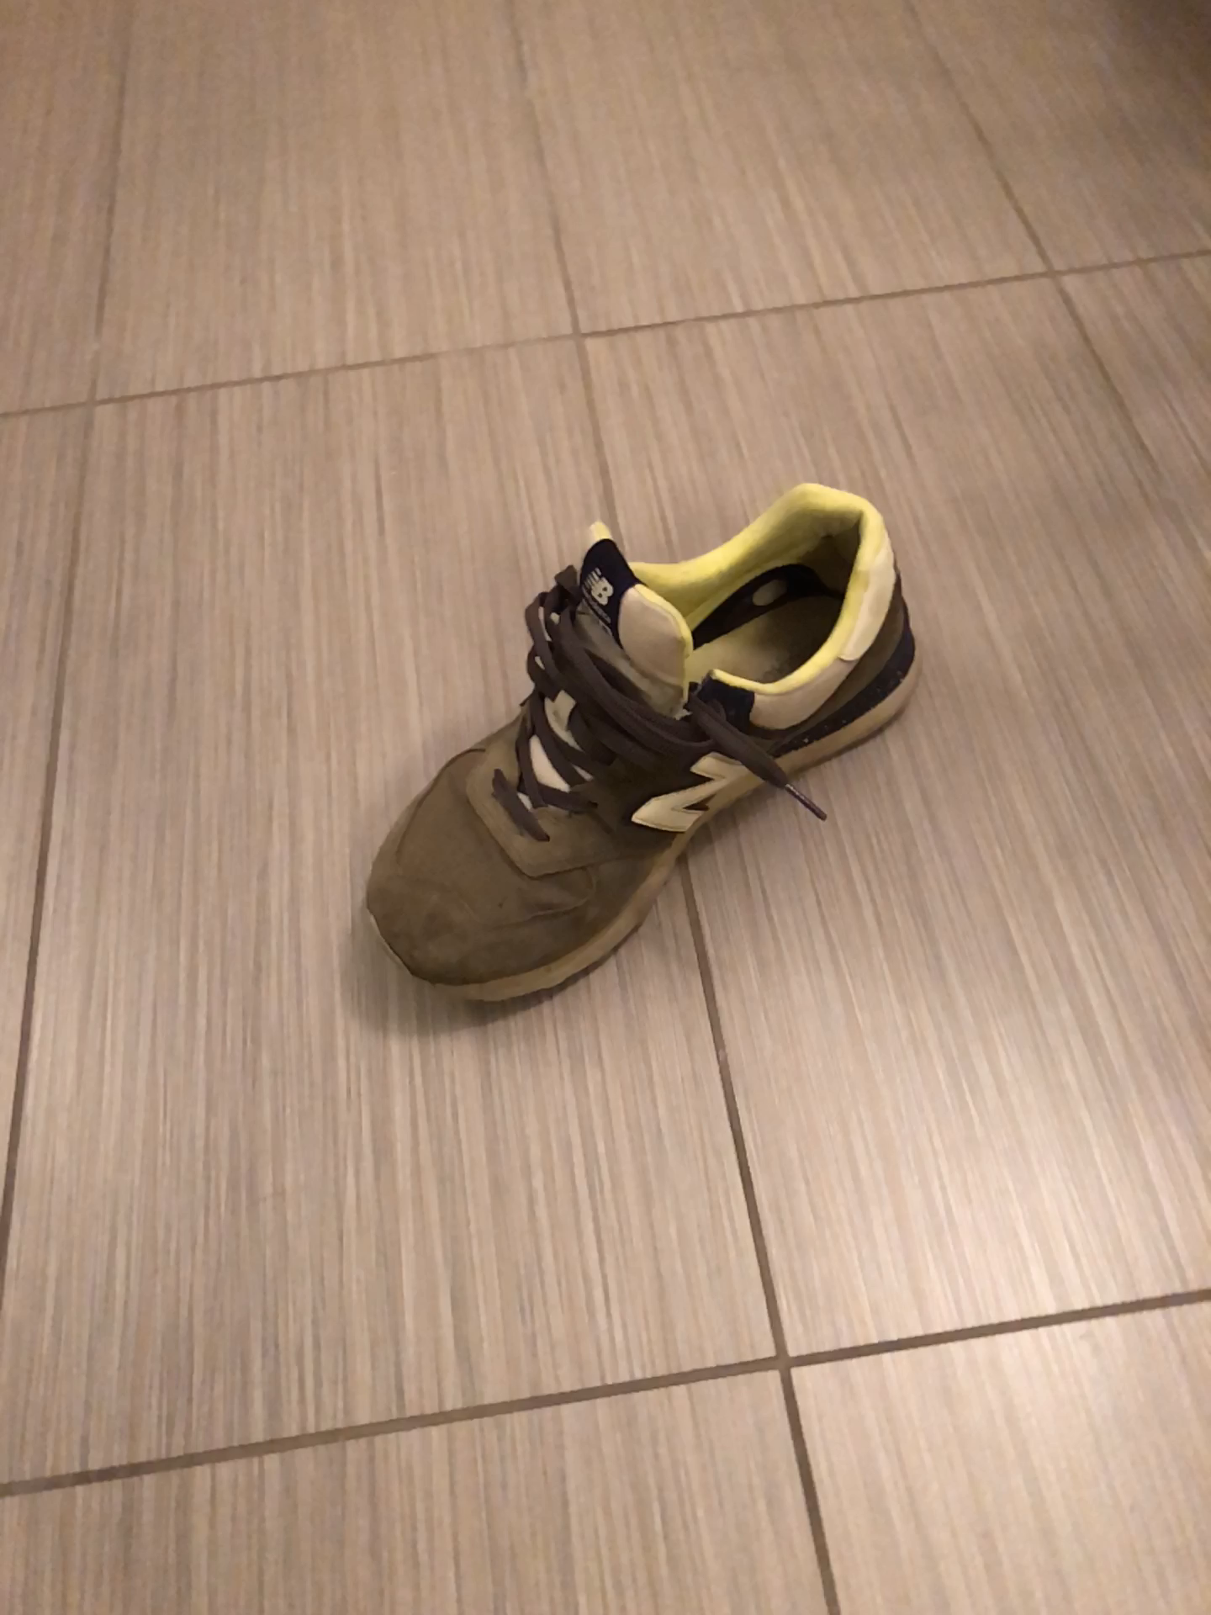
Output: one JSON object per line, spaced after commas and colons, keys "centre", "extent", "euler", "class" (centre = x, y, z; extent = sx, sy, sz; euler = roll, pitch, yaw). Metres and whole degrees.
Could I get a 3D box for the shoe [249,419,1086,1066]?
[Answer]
{"centre": [0.028, -0.034, 0.577], "extent": [0.310, 0.110, 0.130], "euler": [-25, 58, -13], "class": "shoe"}
